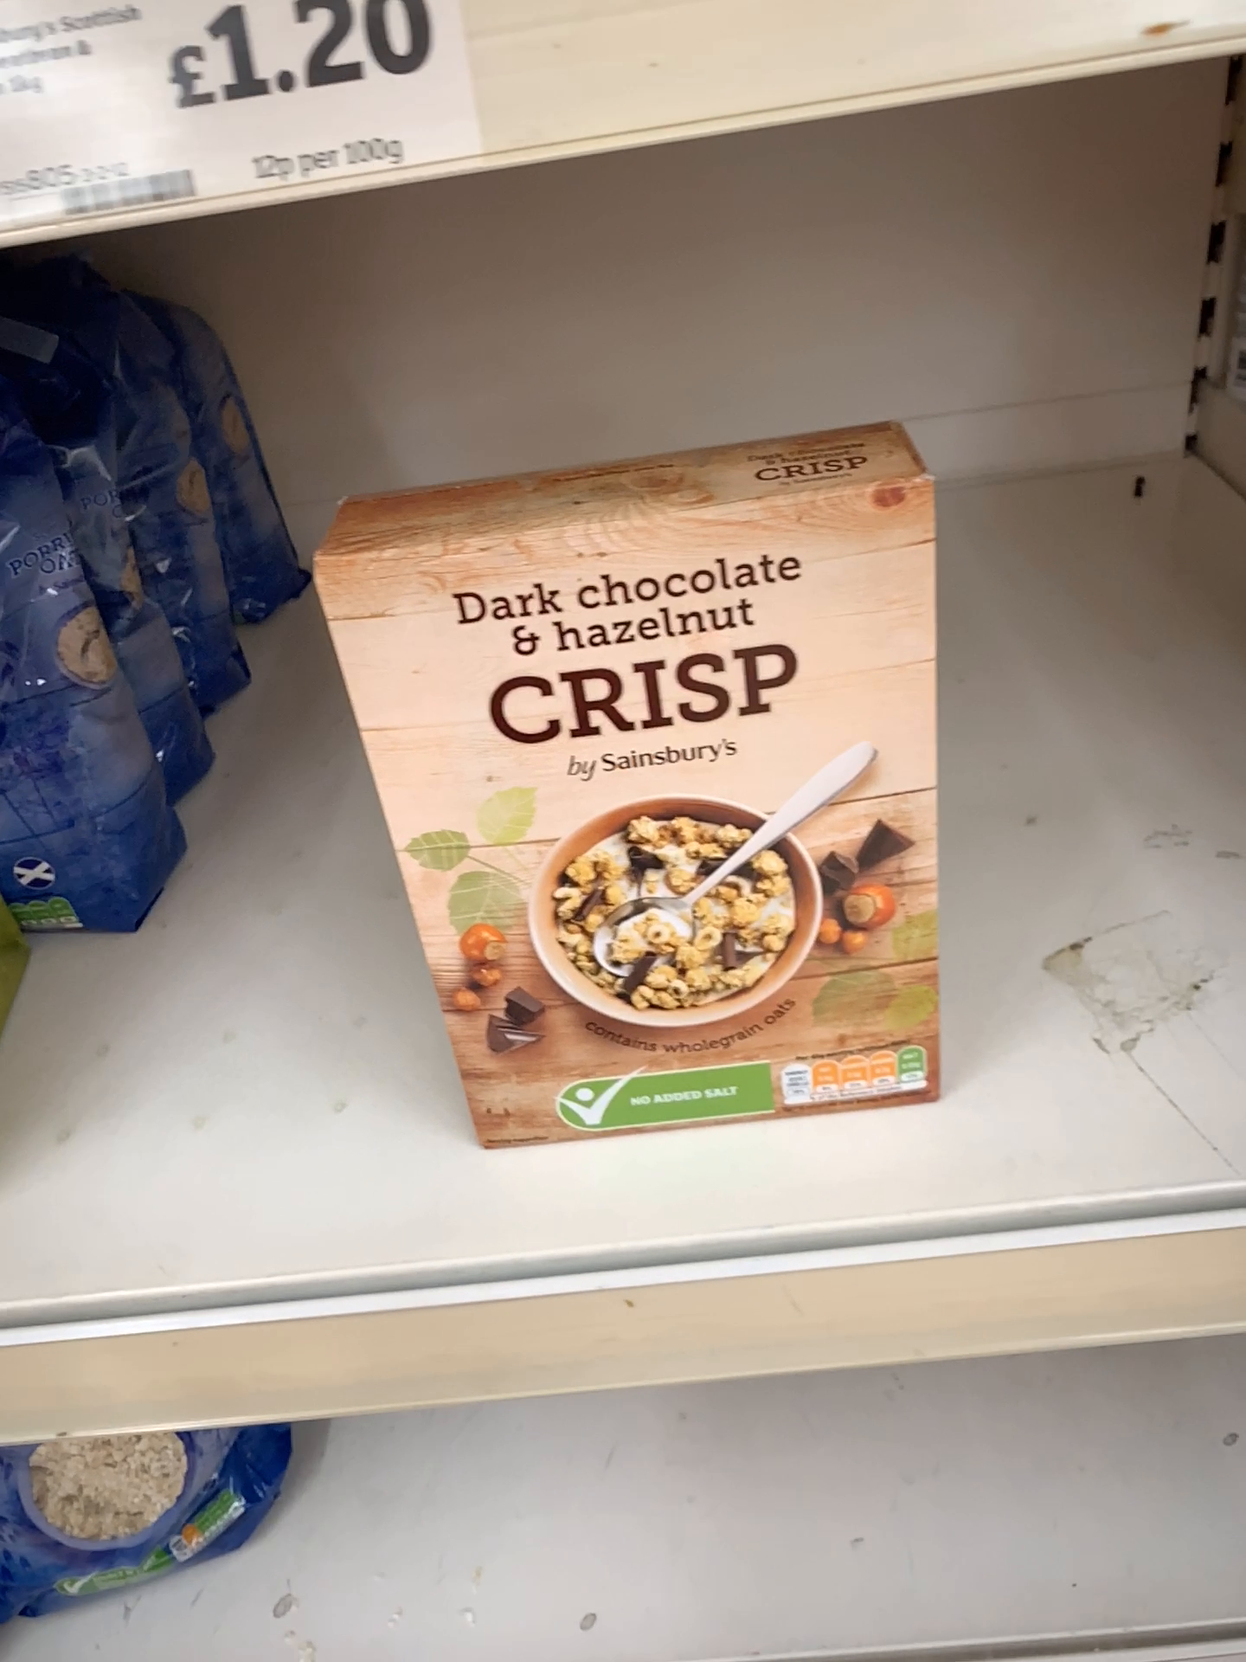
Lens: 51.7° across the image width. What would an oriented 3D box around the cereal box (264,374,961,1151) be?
[{"bbox_3d":[0.012,-0.009,0.440,0.190,0.248,0.061,-7,33,4],"label":"cereal box"}]
